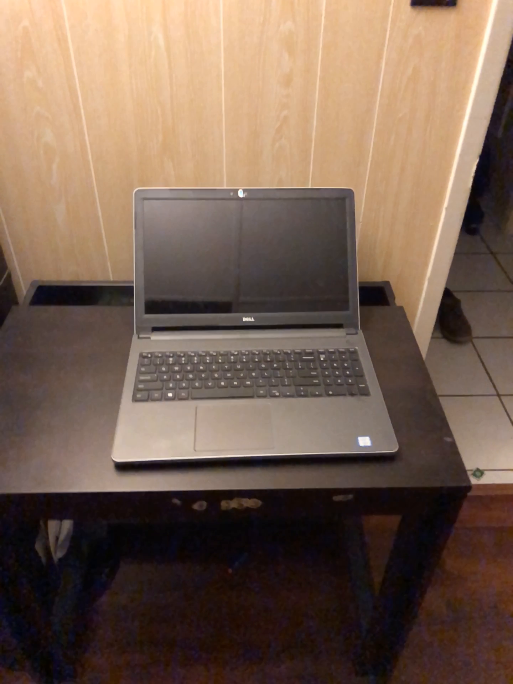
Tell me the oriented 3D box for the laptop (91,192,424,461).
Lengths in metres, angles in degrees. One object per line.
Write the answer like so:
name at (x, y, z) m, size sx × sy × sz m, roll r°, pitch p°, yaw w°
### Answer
laptop at (-0.009, -0.053, 0.841) m, size 0.367 × 0.172 × 0.429 m, roll -2°, pitch 39°, yaw -3°
